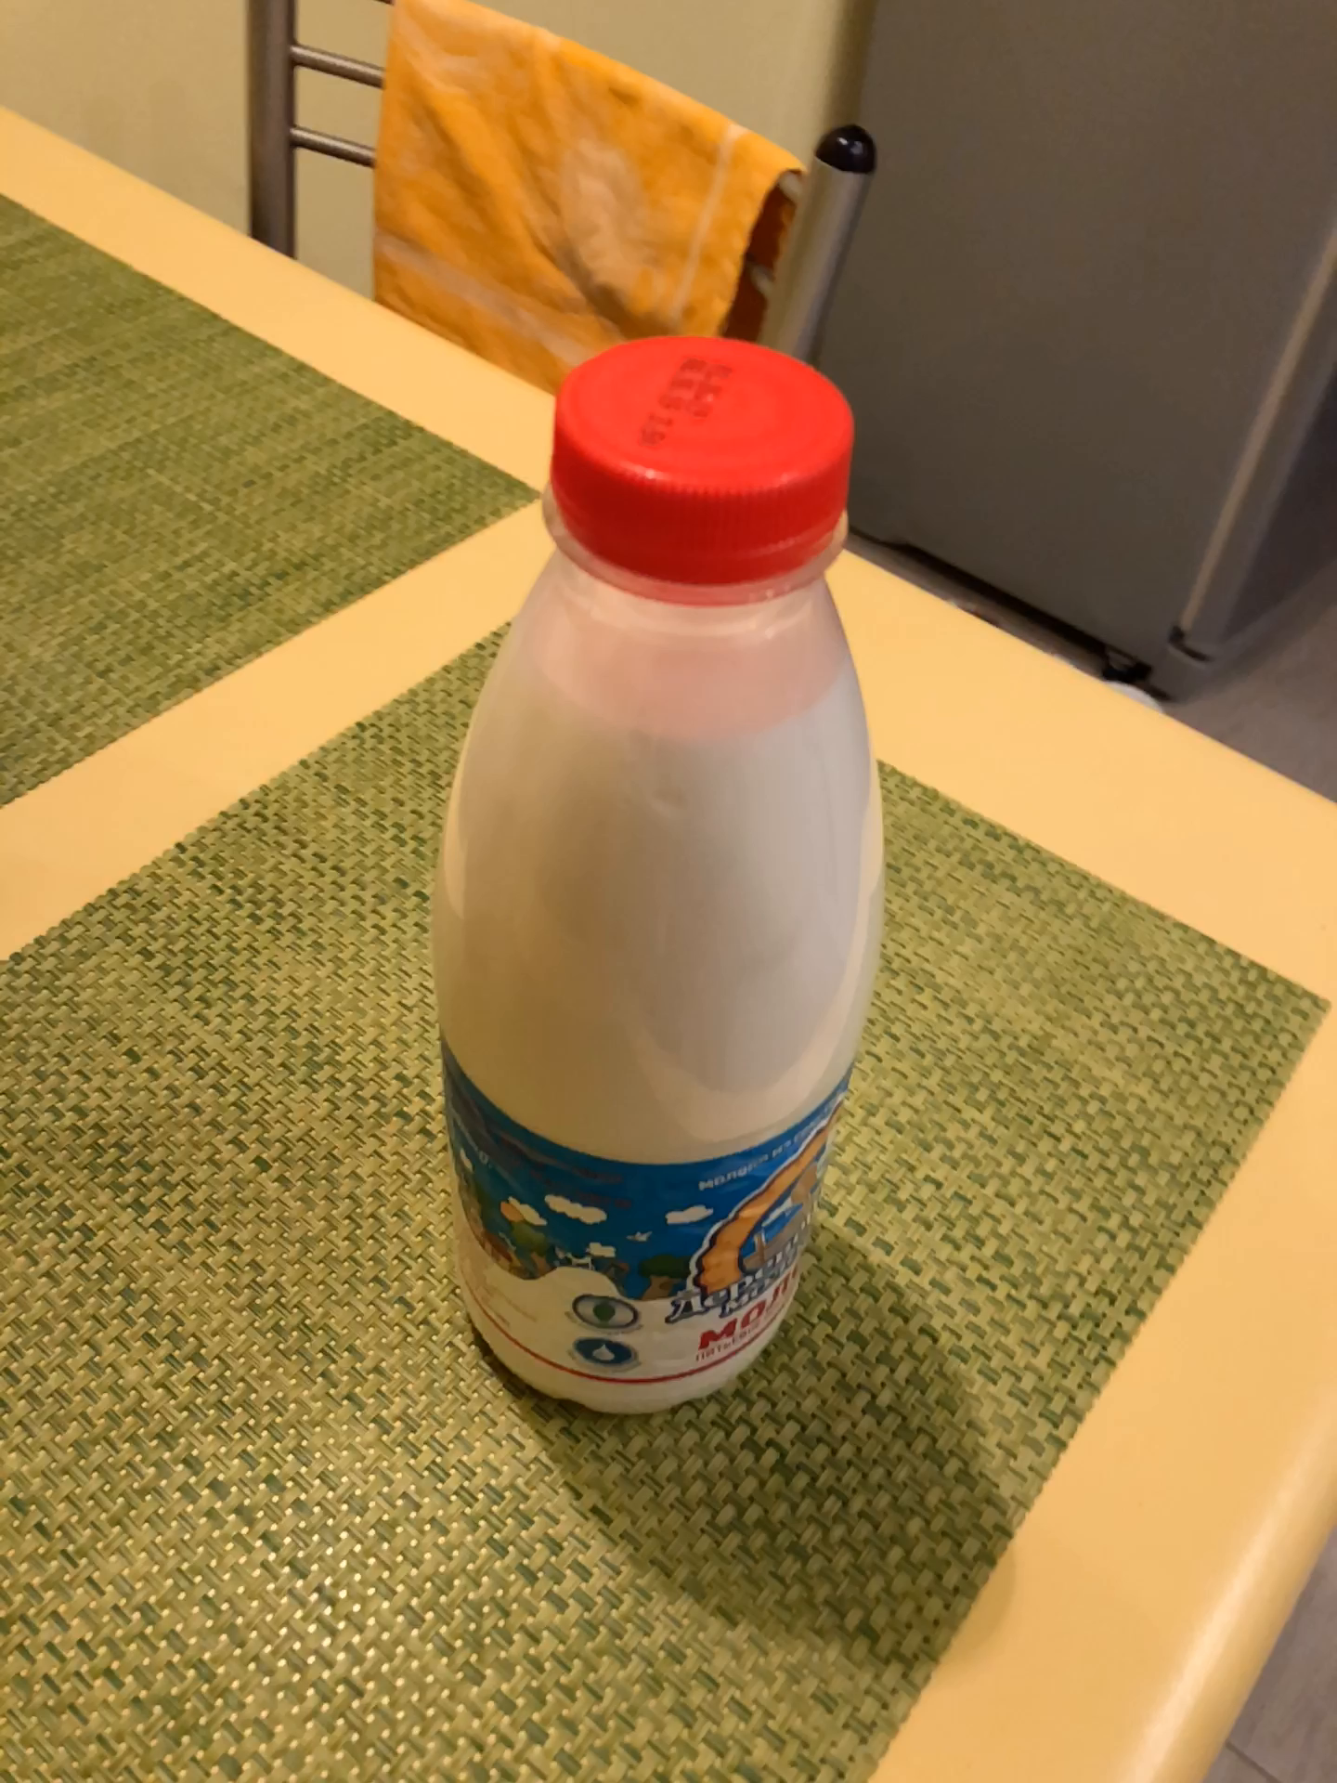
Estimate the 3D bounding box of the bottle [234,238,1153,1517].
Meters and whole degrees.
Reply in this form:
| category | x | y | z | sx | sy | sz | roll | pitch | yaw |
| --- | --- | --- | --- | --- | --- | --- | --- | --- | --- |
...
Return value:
| category | x | y | z | sx | sy | sz | roll | pitch | yaw |
| --- | --- | --- | --- | --- | --- | --- | --- | --- | --- |
| bottle | -0.002 | 0.014 | 0.279 | 0.090 | 0.218 | 0.091 | 3 | 47 | -3 |
